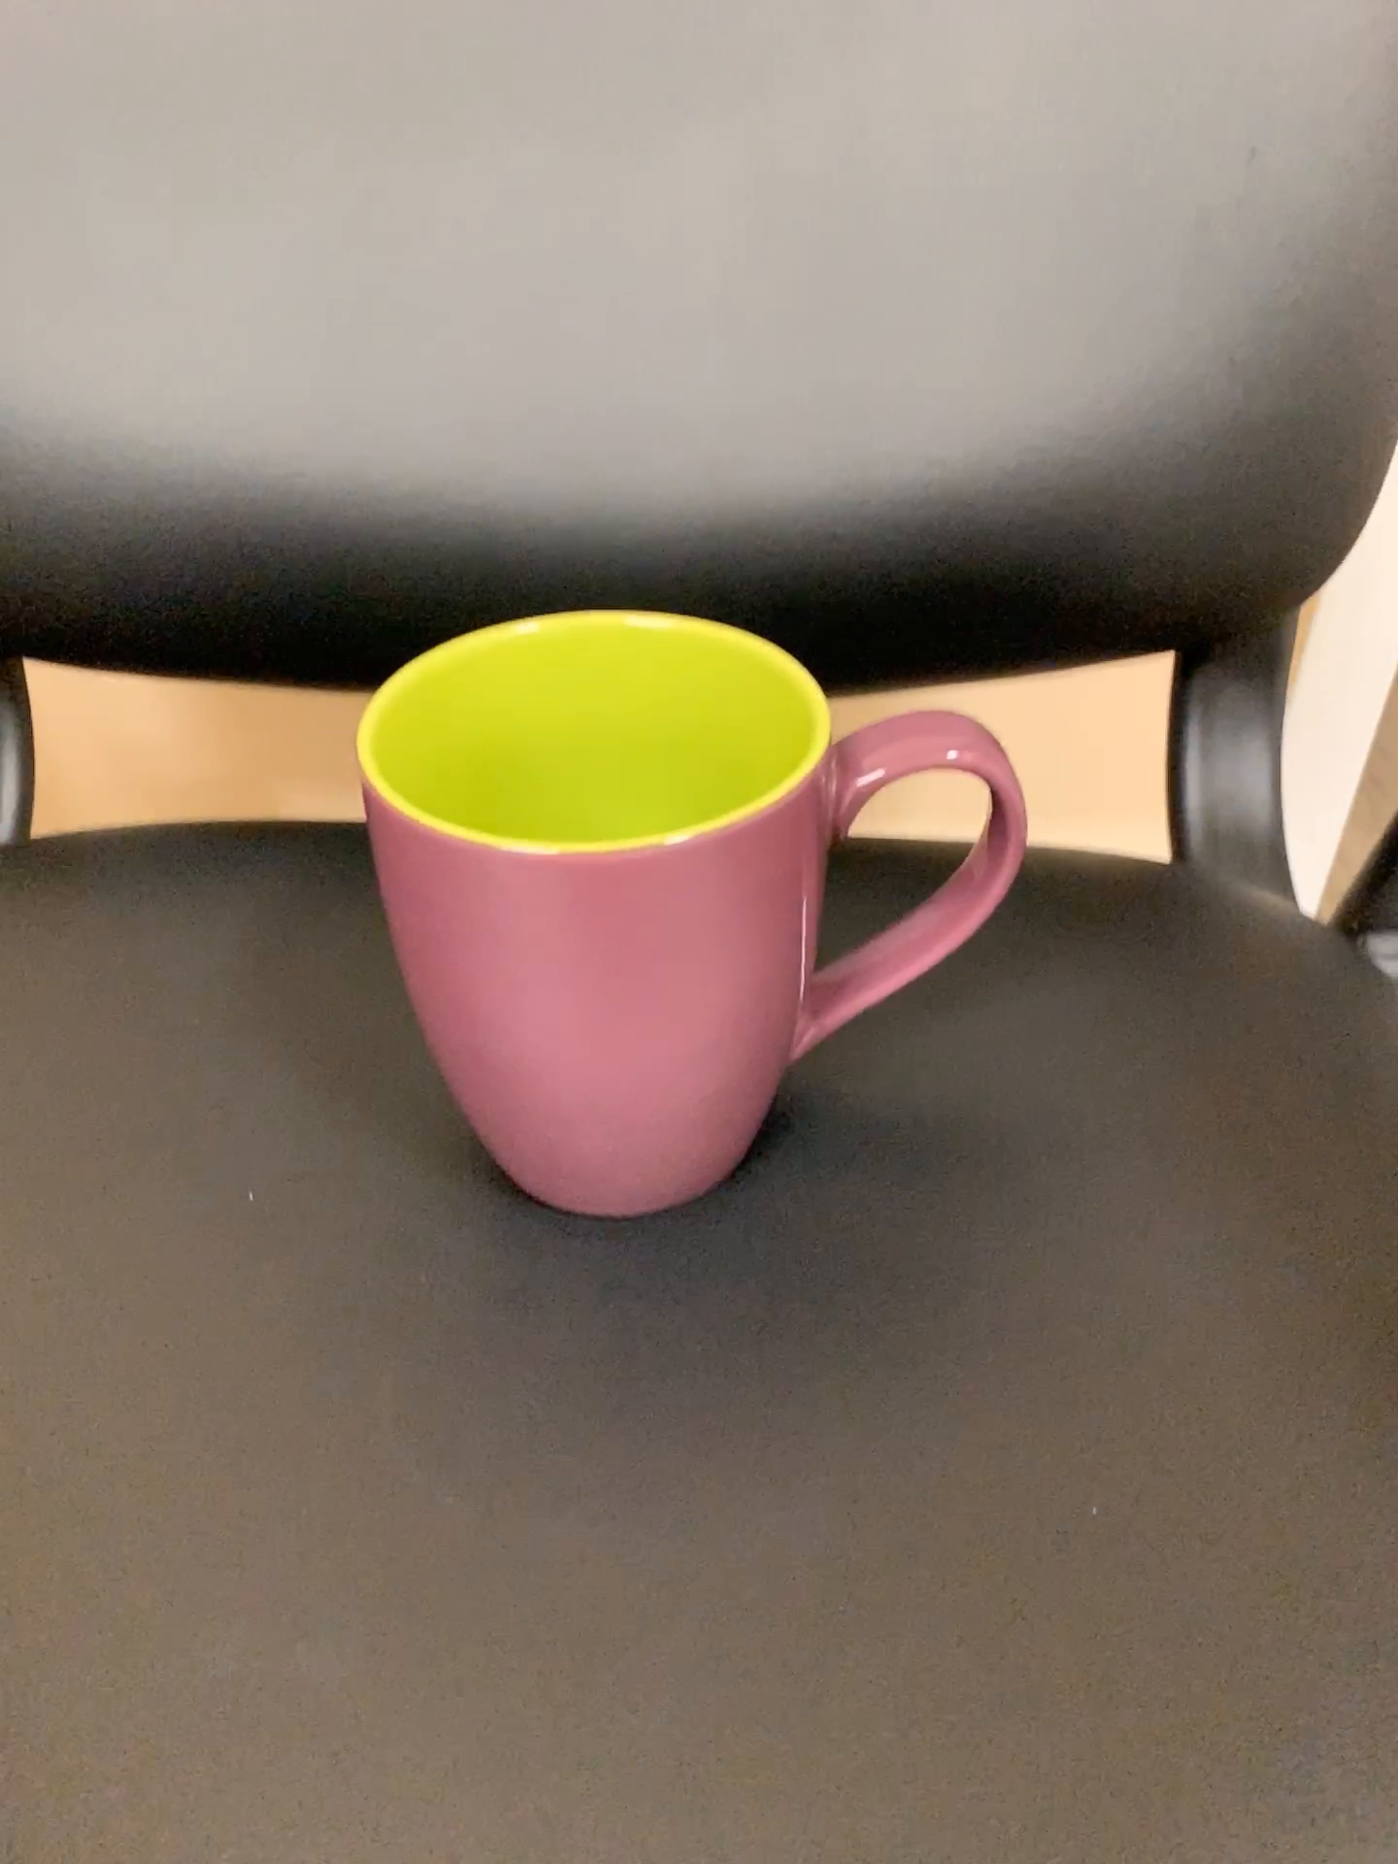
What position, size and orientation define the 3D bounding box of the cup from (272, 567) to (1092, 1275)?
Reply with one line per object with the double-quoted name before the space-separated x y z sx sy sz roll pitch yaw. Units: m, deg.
"cup" -0.007 -0.004 0.317 0.143 0.109 0.090 -6 40 -7
